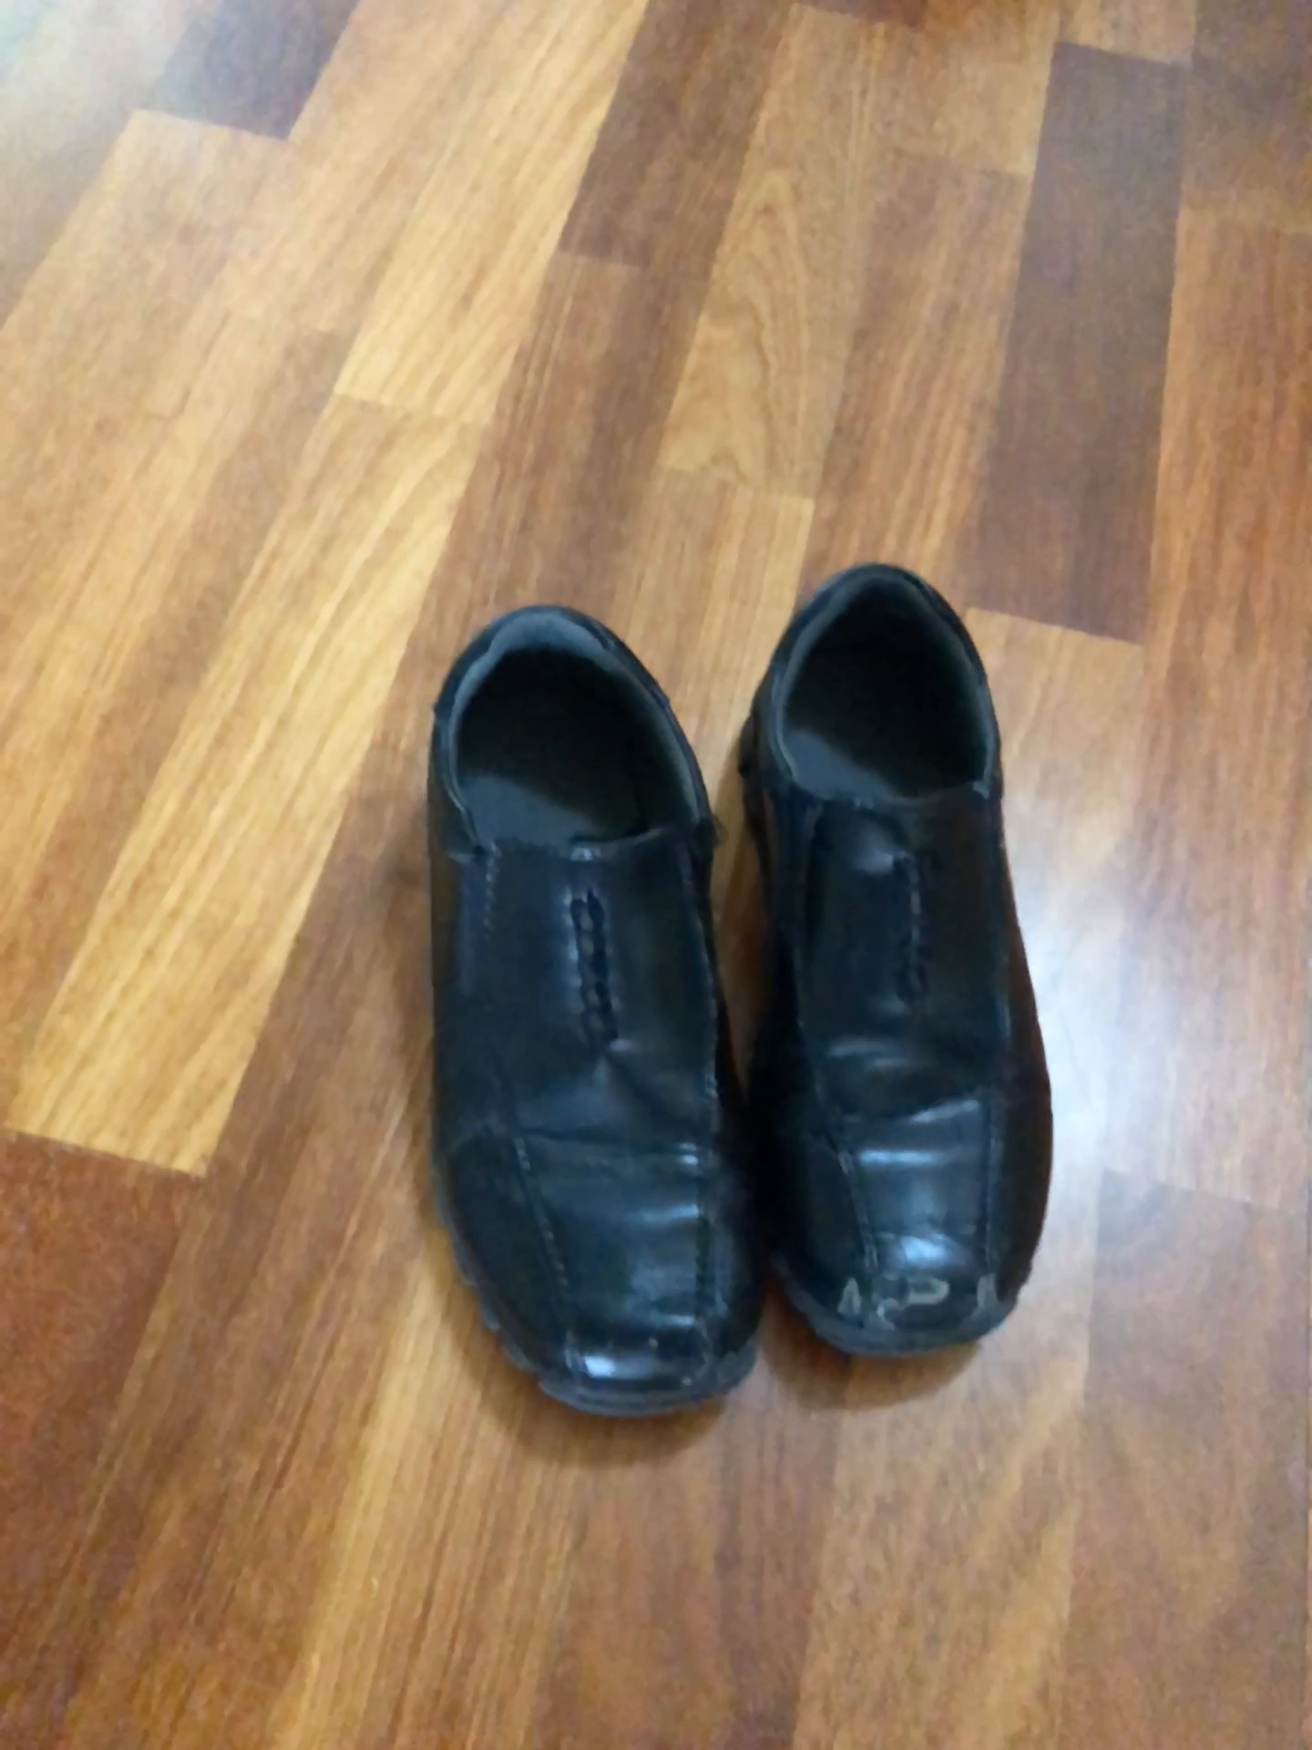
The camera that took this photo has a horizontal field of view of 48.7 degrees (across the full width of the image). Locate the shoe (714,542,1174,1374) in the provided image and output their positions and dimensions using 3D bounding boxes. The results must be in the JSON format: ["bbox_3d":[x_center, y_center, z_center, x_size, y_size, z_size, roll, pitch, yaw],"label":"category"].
[{"bbox_3d":[0.072,0.019,0.428,0.091,0.075,0.233,1,62,-4],"label":"shoe"}]

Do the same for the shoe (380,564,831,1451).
[{"bbox_3d":[-0.023,0.030,0.411,0.094,0.075,0.233,-4,63,-7],"label":"shoe"}]
